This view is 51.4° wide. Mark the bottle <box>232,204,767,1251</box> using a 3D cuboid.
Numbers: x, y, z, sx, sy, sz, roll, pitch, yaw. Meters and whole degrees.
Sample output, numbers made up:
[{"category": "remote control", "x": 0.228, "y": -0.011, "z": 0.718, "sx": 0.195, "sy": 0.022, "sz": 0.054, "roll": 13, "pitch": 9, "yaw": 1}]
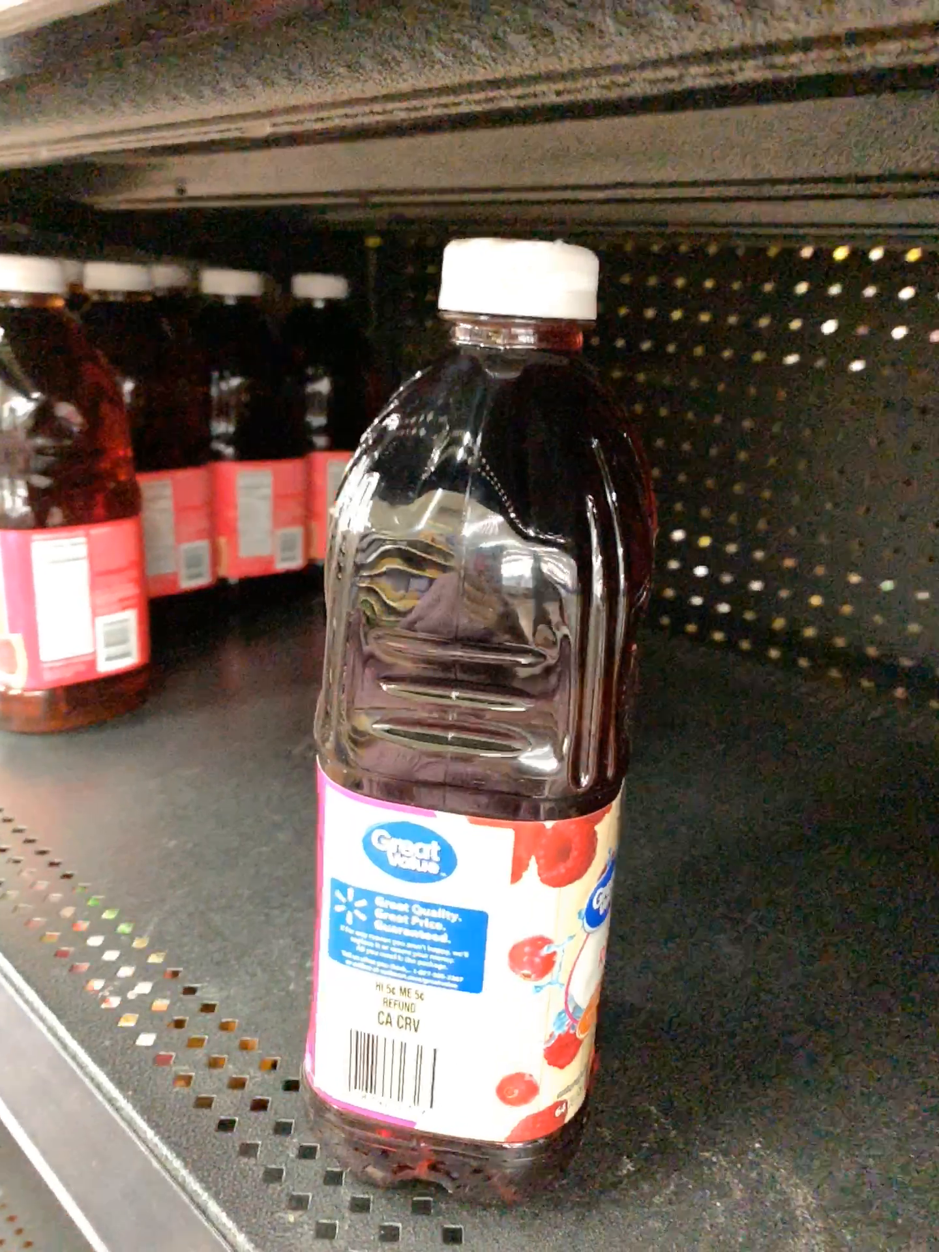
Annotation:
[{"category": "bottle", "x": 0.007, "y": 0.025, "z": 0.282, "sx": 0.100, "sy": 0.259, "sz": 0.125, "roll": 5, "pitch": 19, "yaw": 7}]
